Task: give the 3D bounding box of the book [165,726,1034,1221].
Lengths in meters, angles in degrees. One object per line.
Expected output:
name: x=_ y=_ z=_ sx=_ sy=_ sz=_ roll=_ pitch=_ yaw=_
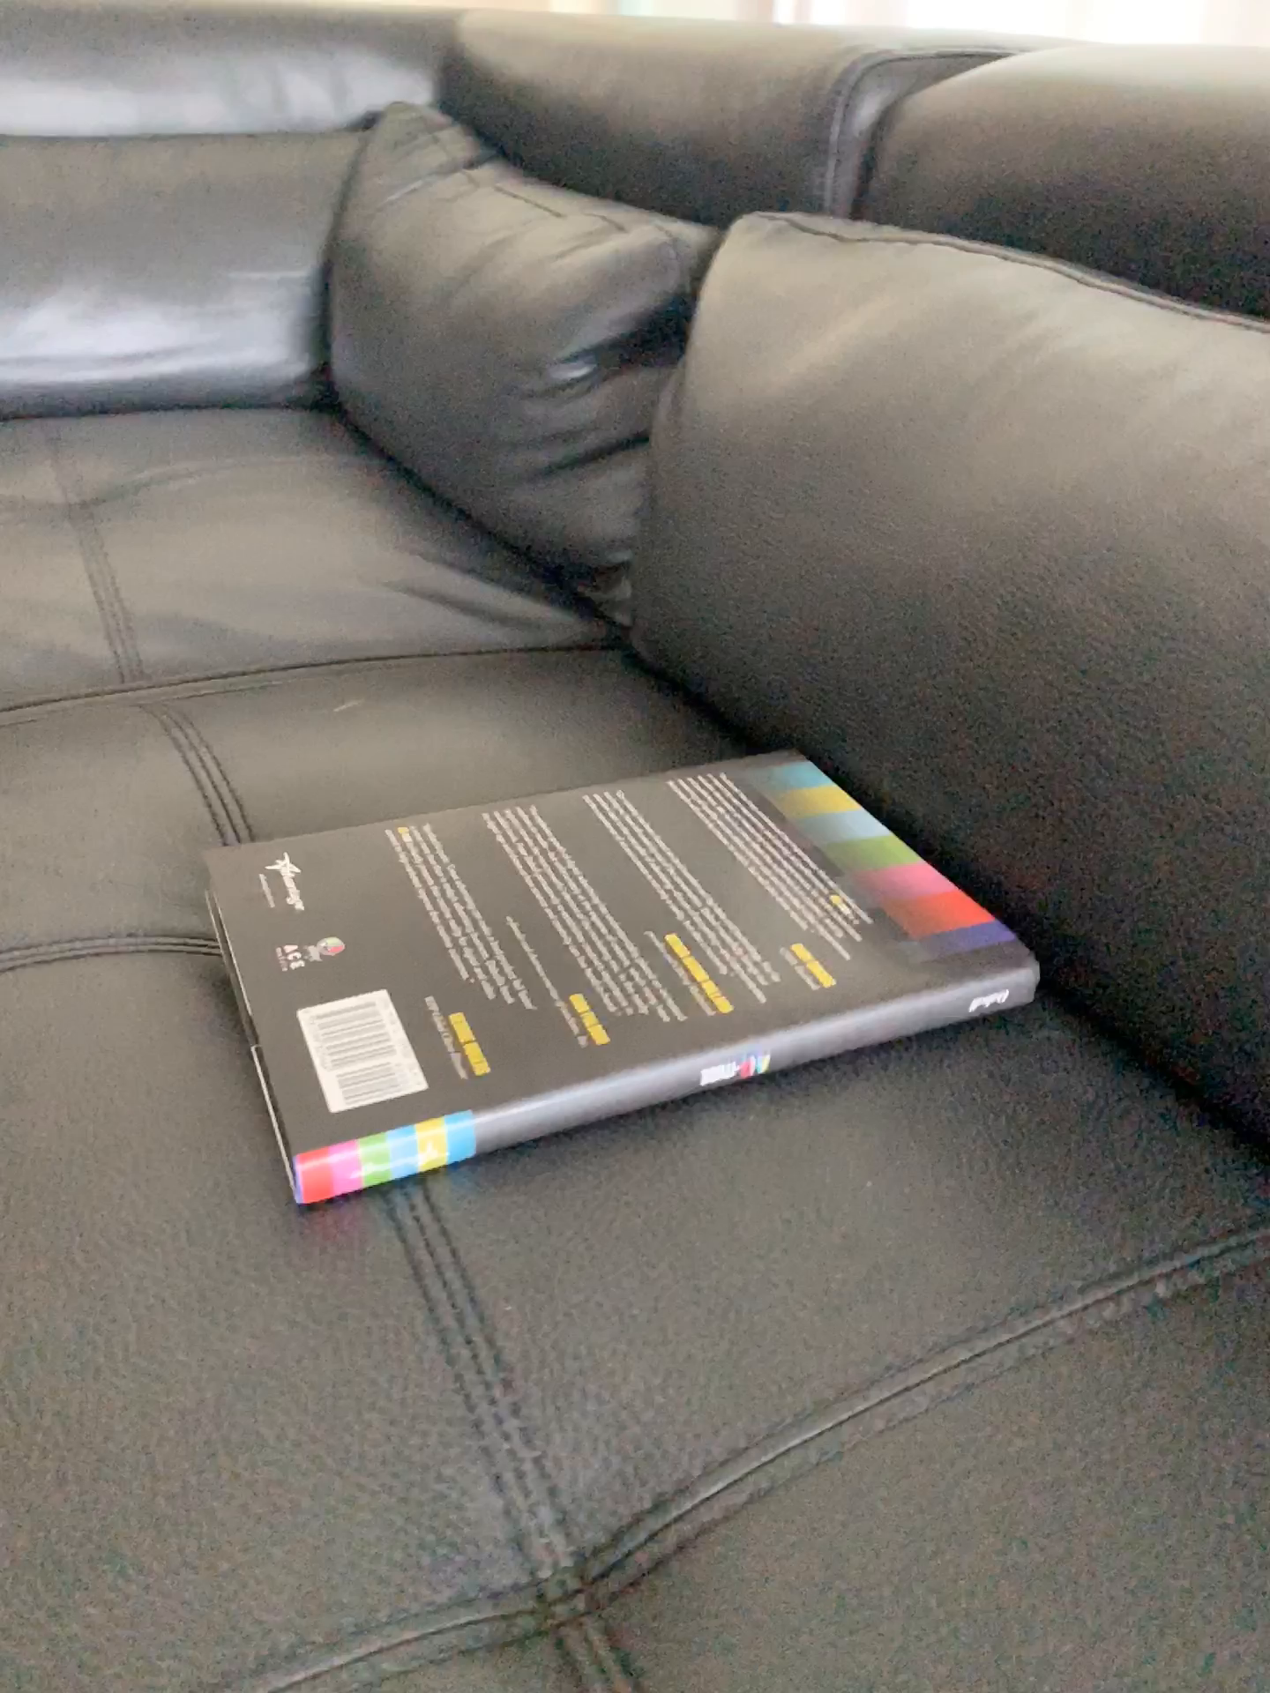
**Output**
book: x=-0.019 y=0.023 z=0.426 sx=0.236 sy=0.030 sz=0.161 roll=-10 pitch=33 yaw=-22
